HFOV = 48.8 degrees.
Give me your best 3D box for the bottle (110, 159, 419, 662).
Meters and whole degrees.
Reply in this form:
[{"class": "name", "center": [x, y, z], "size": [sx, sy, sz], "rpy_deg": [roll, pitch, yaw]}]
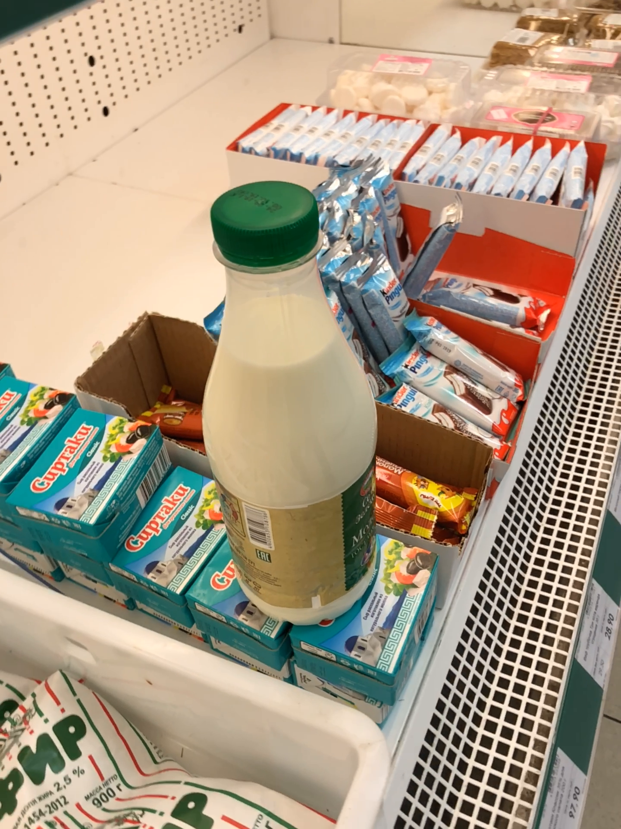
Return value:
[{"class": "bottle", "center": [-0.009, 0.014, 0.337], "size": [0.085, 0.238, 0.081], "rpy_deg": [-2, 45, 2]}]
